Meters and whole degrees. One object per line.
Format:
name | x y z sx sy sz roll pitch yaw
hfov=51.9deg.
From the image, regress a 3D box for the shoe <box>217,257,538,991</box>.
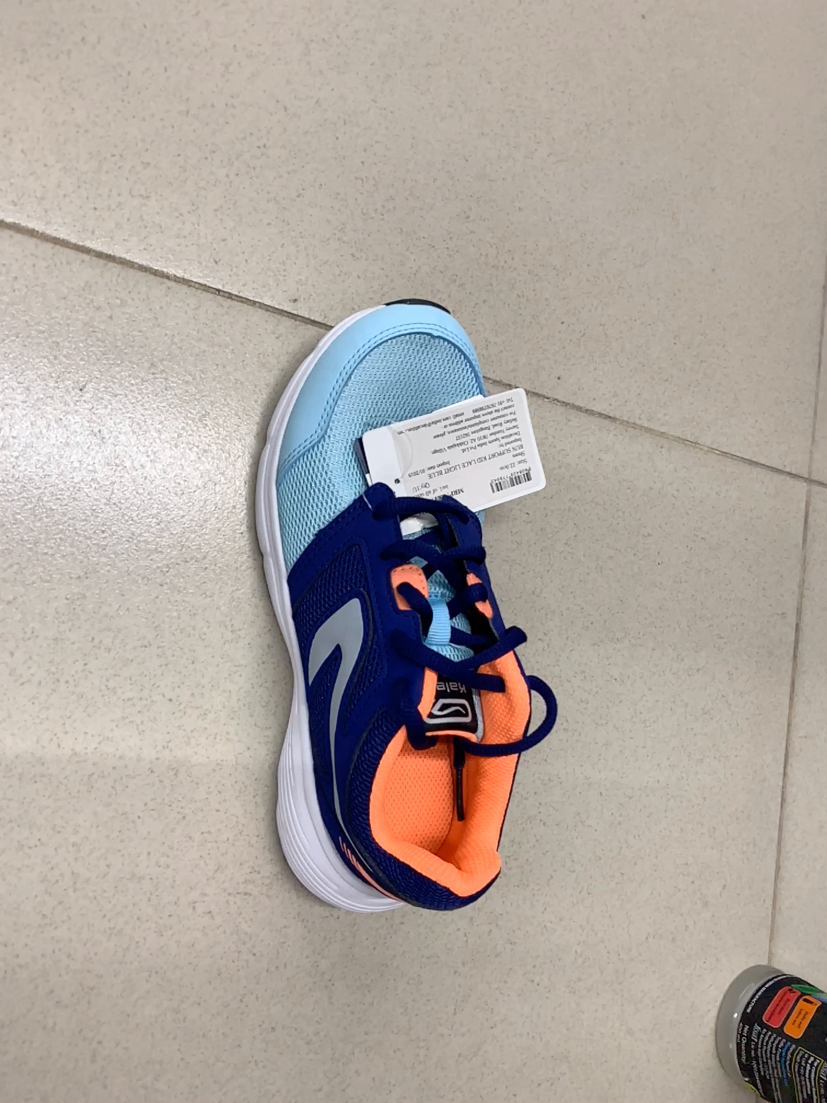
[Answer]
shoe | -0.016 0.024 0.338 0.100 0.080 0.240 1 88 -29
